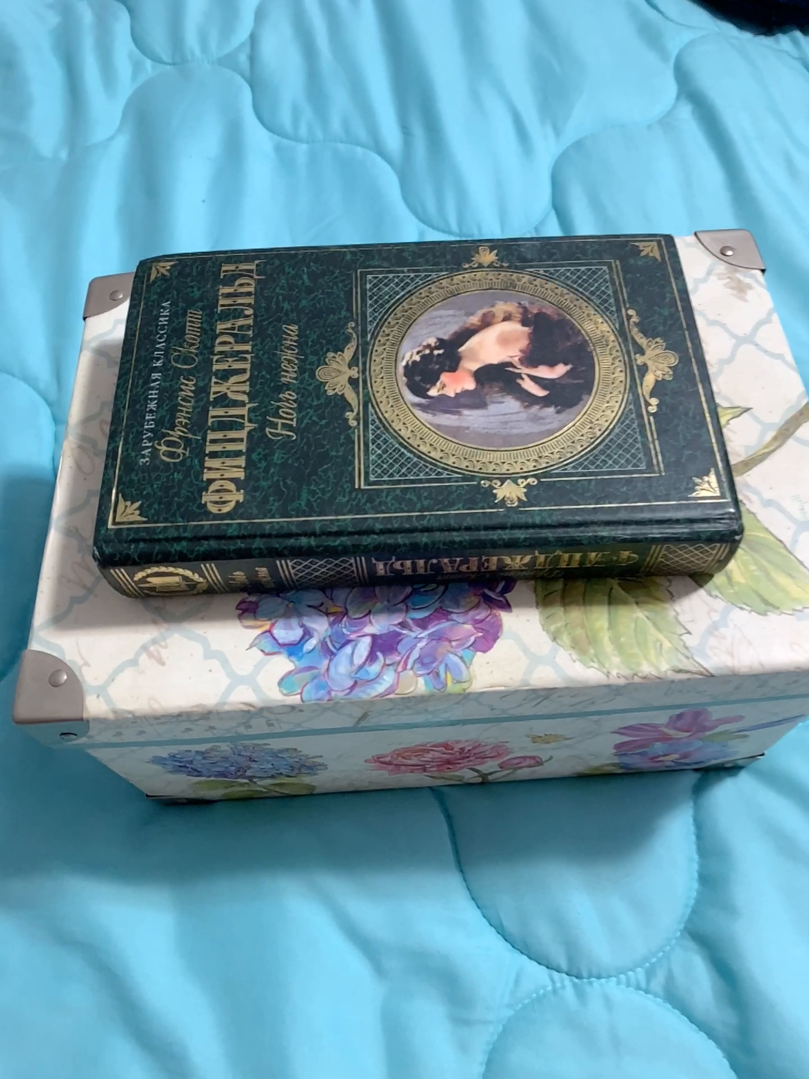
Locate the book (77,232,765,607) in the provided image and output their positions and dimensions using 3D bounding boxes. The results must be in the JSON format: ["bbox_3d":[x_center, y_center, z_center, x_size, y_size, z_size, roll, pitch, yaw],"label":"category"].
[{"bbox_3d":[0.003,-0.049,0.312,0.220,0.030,0.140,-2,62,0],"label":"book"}]
